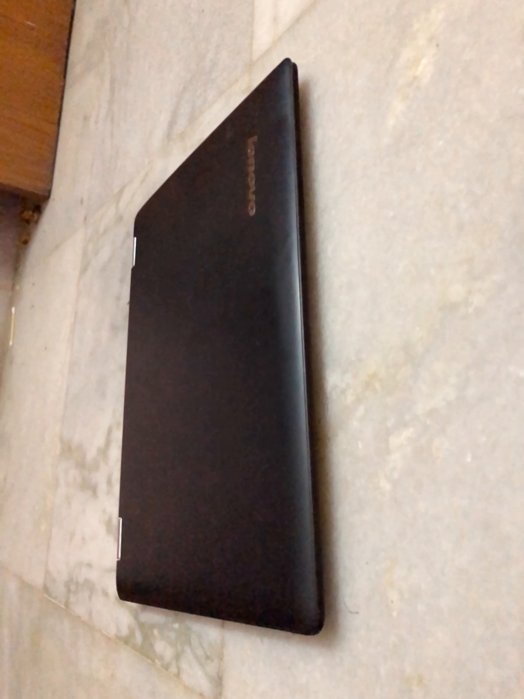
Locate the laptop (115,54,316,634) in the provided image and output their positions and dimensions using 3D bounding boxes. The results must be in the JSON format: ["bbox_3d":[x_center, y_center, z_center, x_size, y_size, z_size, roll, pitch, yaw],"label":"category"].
[{"bbox_3d":[-0.045,0.001,0.396,0.223,0.002,0.329,-24,61,50],"label":"laptop"}]
